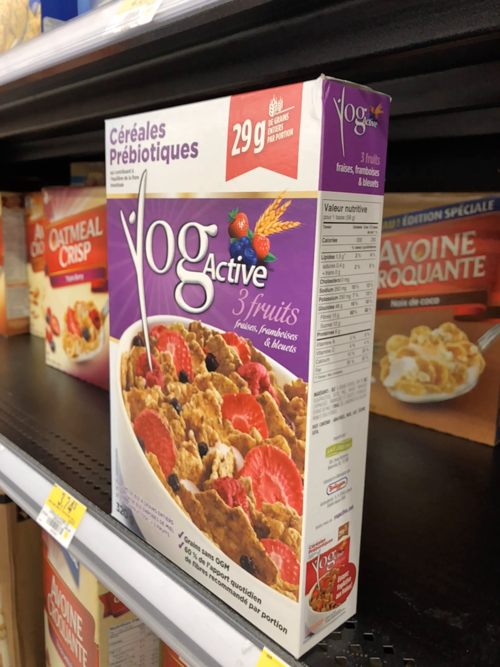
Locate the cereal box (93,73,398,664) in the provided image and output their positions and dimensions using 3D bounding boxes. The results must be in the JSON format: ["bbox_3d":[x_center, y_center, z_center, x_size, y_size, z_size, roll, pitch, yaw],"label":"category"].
[{"bbox_3d":[-0.018,0.010,0.343,0.060,0.279,0.190,-9,15,-42],"label":"cereal box"}]
